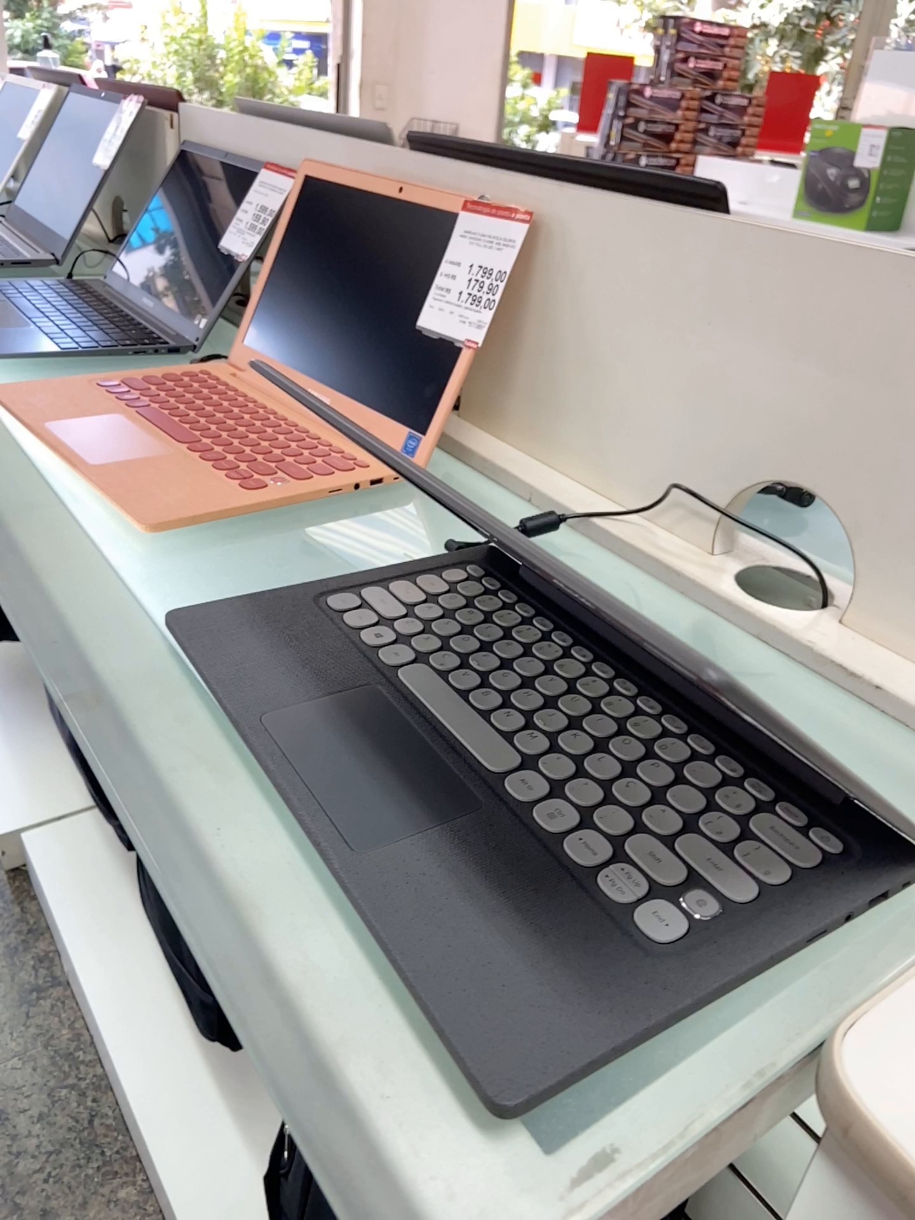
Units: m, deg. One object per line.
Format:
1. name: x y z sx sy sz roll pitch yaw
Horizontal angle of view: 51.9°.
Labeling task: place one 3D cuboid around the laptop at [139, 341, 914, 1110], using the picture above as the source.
1. laptop: 0.020 -0.006 0.408 0.212 0.132 0.317 -13 34 -30
